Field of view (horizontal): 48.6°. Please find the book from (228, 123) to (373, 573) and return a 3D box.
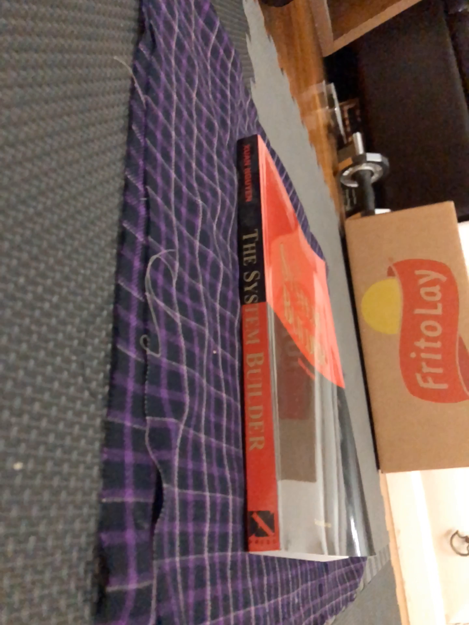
[{"bbox_3d":[0.050,0.037,0.367,0.200,0.030,0.260,49,35,-57],"label":"book"}]
